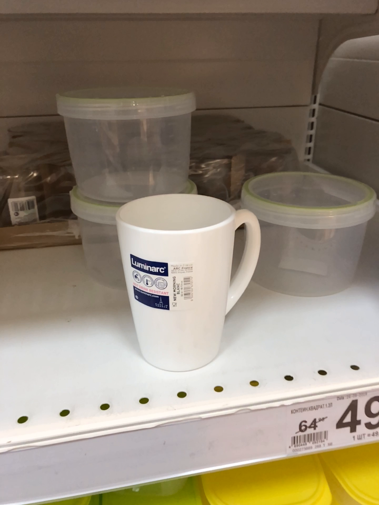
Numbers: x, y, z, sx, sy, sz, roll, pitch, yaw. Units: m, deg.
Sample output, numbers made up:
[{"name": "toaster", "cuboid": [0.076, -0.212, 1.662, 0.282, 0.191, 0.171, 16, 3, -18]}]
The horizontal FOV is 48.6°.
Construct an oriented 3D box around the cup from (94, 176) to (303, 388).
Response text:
[{"name": "cup", "cuboid": [0.004, 0.014, 0.307, 0.120, 0.107, 0.079, -11, 28, -20]}]
